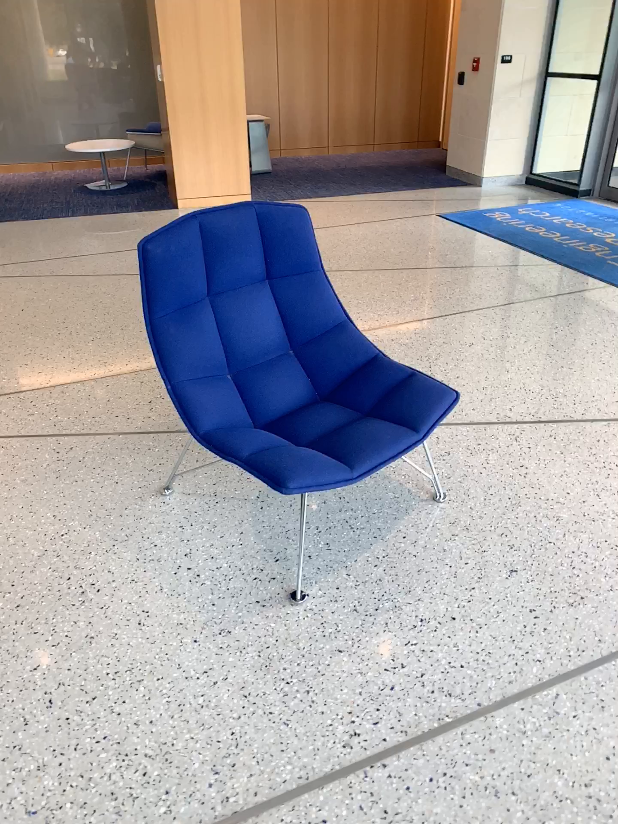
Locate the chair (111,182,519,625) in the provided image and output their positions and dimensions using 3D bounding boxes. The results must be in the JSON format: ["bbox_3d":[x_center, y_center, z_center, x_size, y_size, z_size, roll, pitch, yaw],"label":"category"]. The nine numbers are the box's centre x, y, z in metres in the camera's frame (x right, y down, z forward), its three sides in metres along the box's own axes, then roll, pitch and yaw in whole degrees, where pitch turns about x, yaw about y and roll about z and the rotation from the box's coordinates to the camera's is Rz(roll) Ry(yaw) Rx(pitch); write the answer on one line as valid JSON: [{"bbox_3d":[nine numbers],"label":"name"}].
[{"bbox_3d":[0.010,-0.121,2.011,0.801,0.963,0.832,-25,37,-35],"label":"chair"}]
